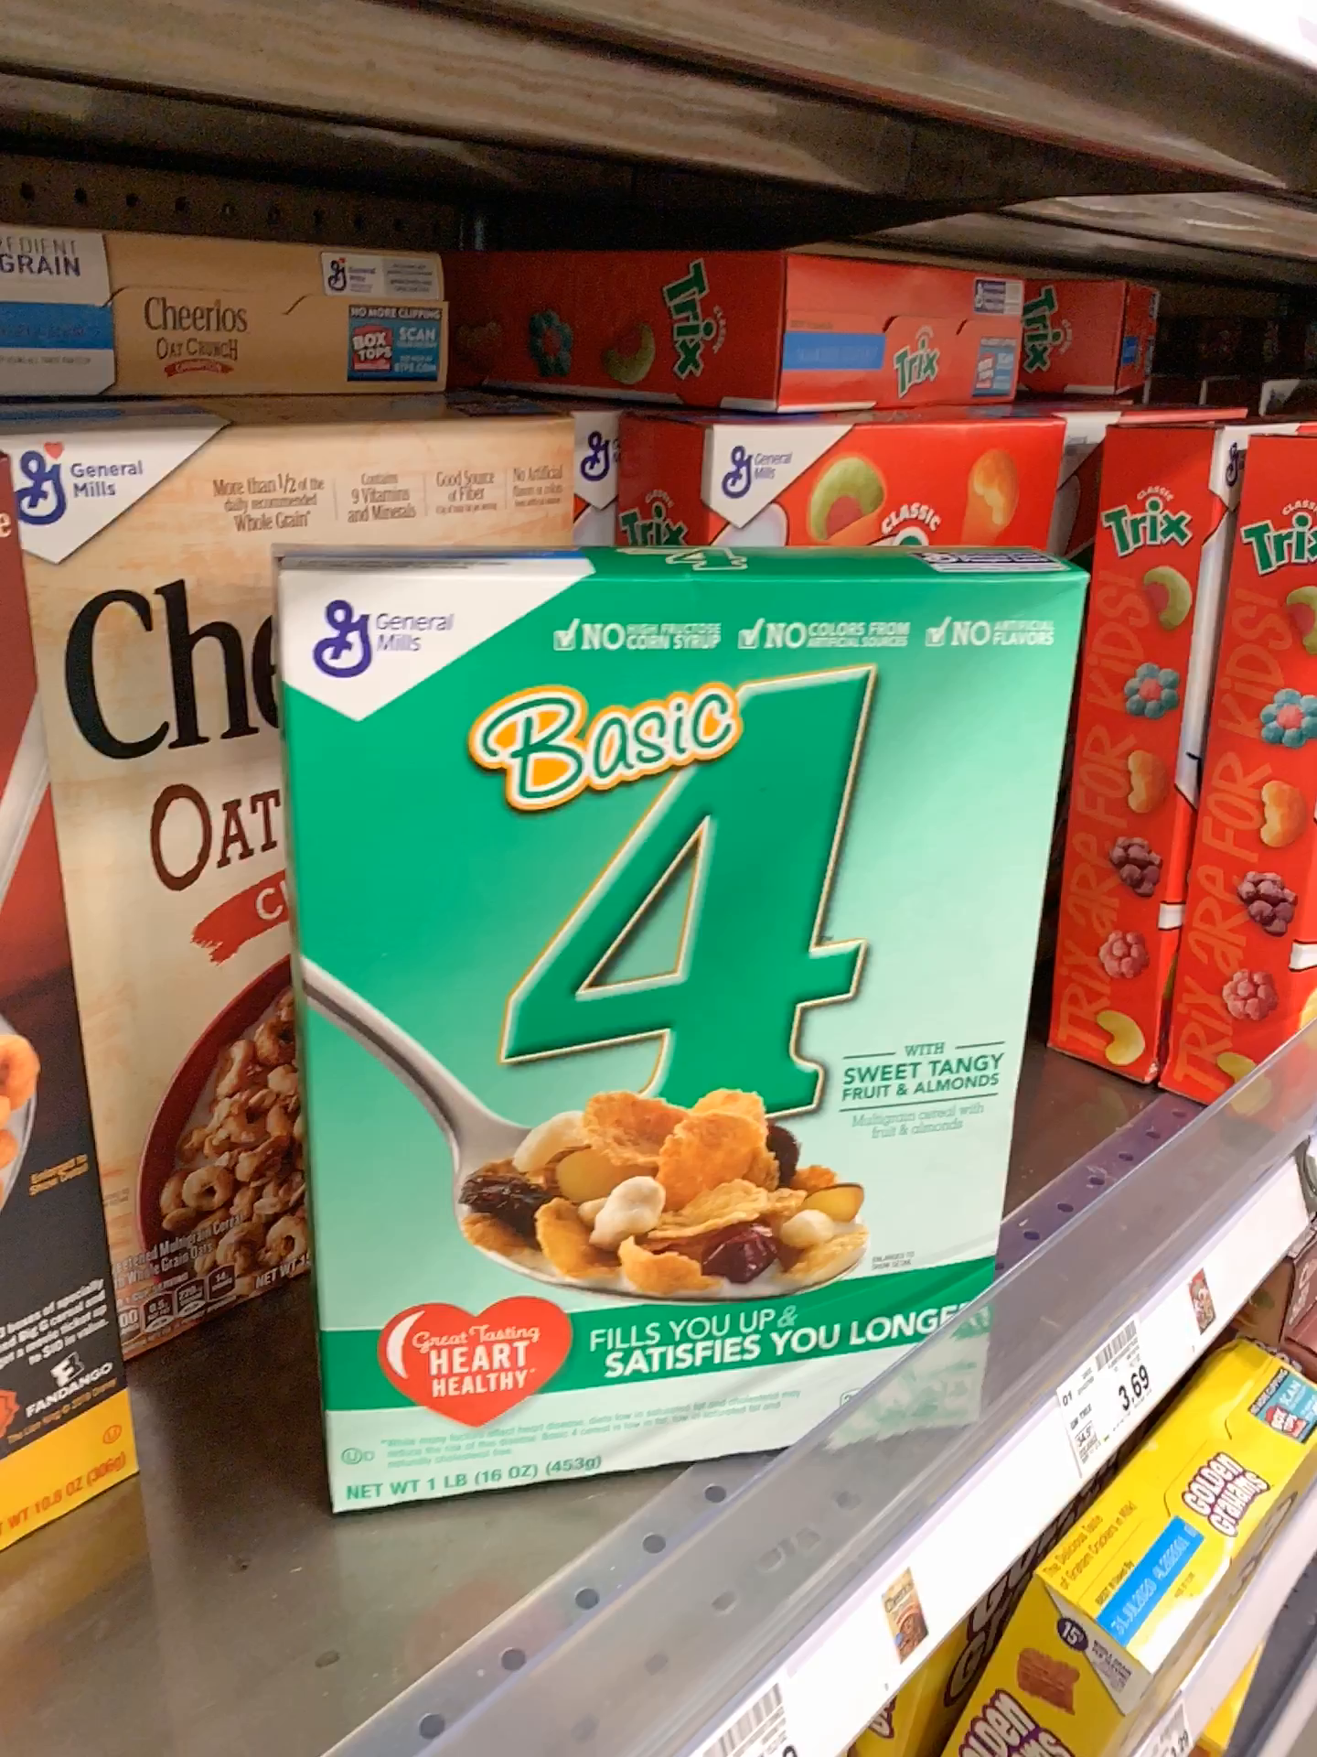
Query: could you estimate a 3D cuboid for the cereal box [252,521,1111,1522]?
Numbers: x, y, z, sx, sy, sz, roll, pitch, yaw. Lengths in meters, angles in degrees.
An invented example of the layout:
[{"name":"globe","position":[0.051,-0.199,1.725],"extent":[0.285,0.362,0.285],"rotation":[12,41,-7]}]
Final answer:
[{"name":"cereal box","position":[0.002,0.039,0.372],"extent":[0.200,0.259,0.050],"rotation":[-3,20,-13]}]
